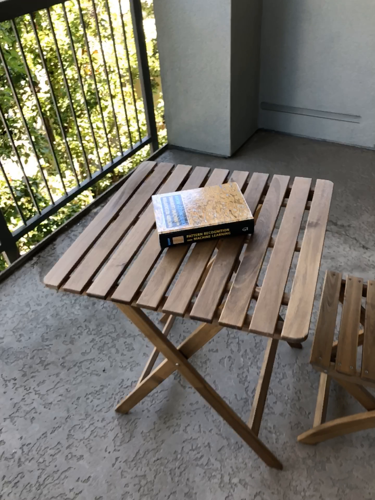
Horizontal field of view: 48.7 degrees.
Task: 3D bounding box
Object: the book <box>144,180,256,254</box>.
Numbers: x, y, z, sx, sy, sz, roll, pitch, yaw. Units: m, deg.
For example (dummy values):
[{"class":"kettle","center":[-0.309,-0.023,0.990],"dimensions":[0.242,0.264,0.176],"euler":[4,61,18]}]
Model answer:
[{"class":"book","center":[0.024,-0.090,1.062],"dimensions":[0.250,0.050,0.191],"euler":[-9,40,-5]}]
